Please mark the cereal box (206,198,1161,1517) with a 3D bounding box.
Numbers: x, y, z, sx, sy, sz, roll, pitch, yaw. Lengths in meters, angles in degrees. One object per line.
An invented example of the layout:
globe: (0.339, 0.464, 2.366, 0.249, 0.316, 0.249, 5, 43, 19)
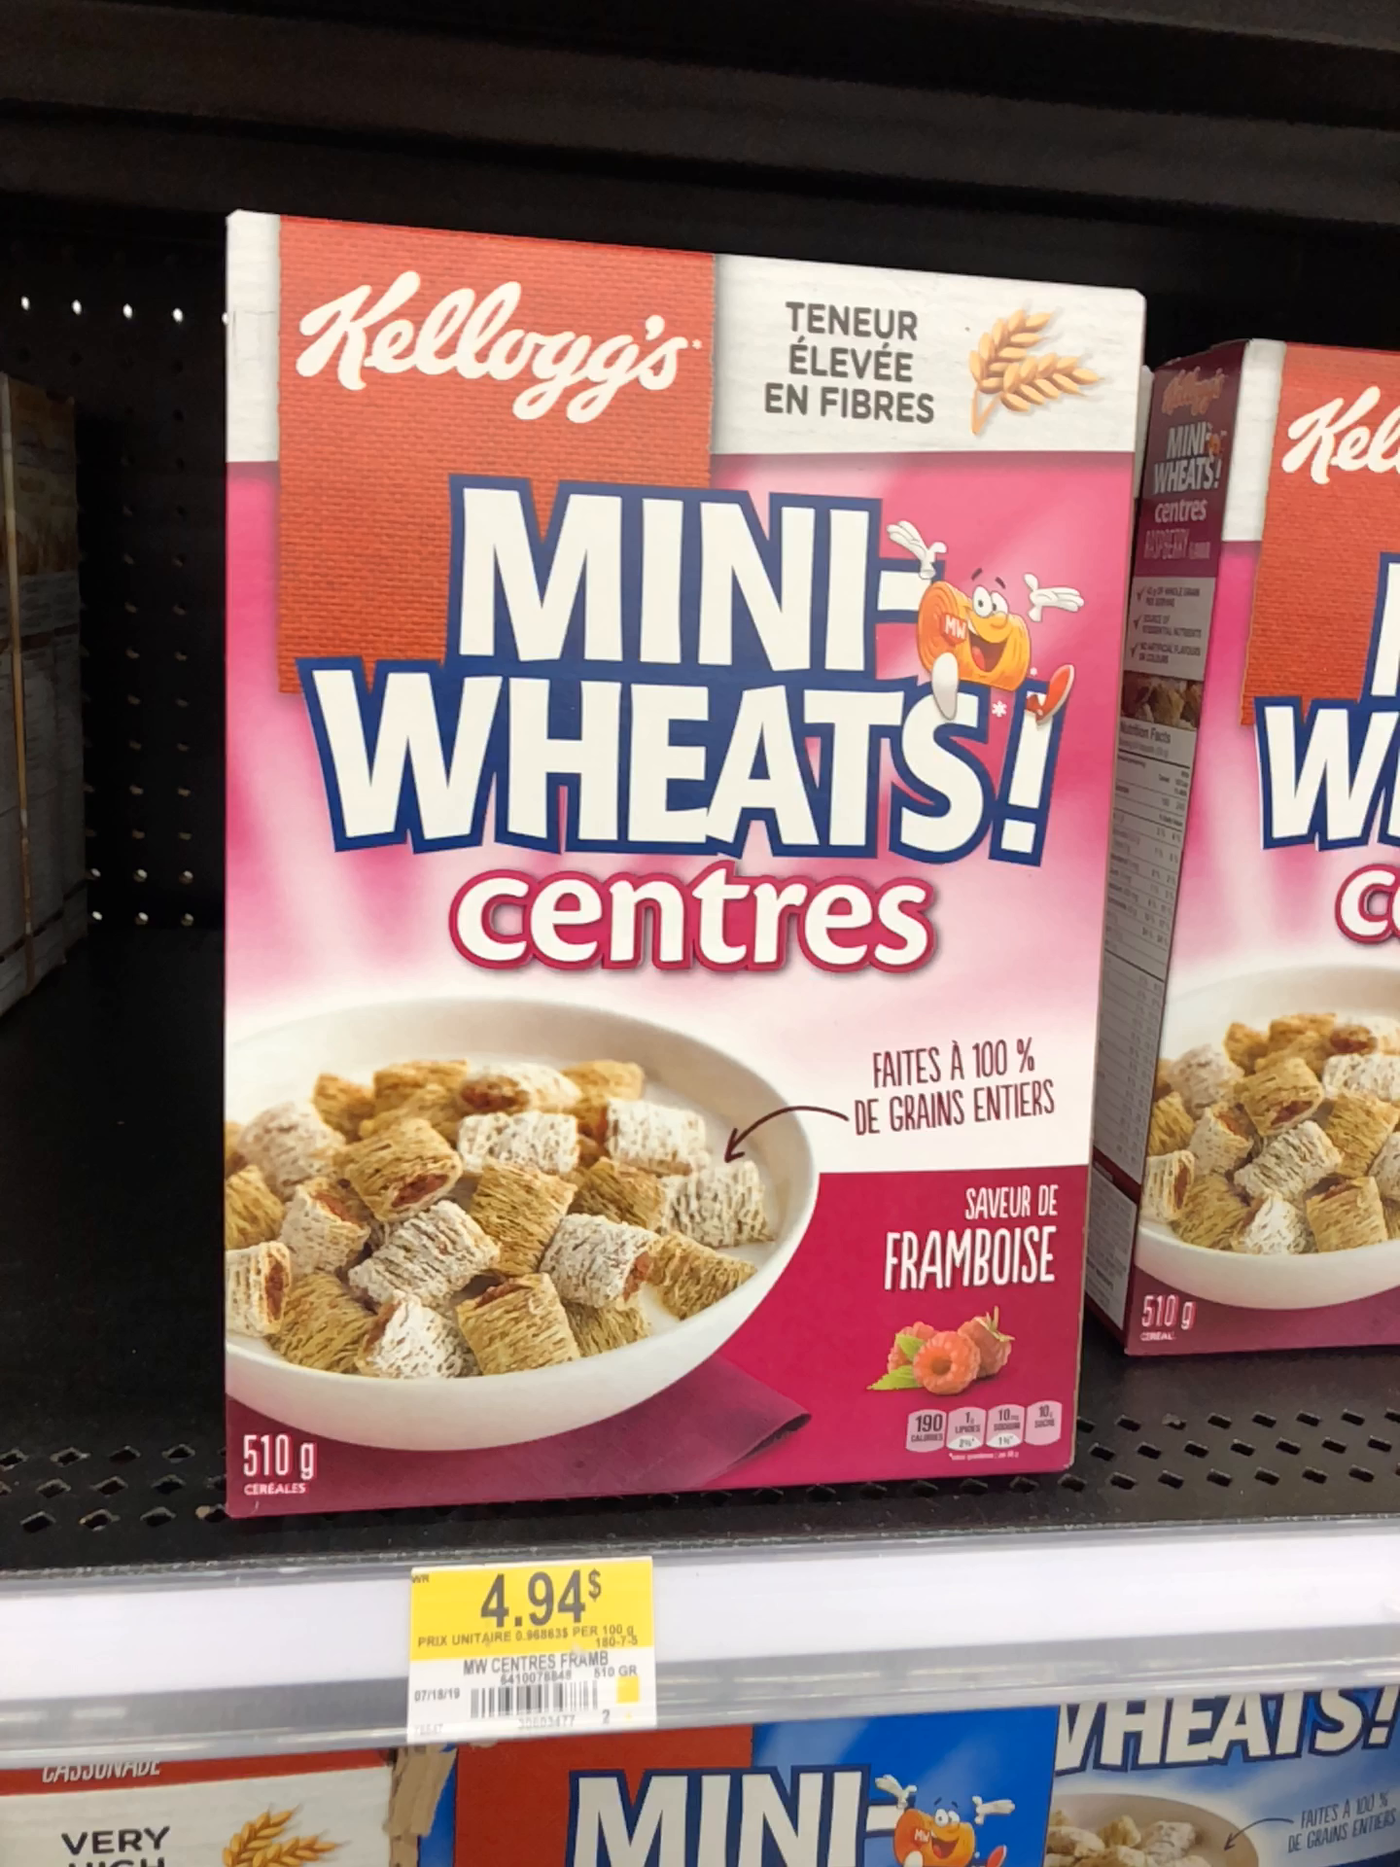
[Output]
cereal box: (-0.008, -0.013, 0.353, 0.190, 0.259, 0.070, 0, 7, -10)
